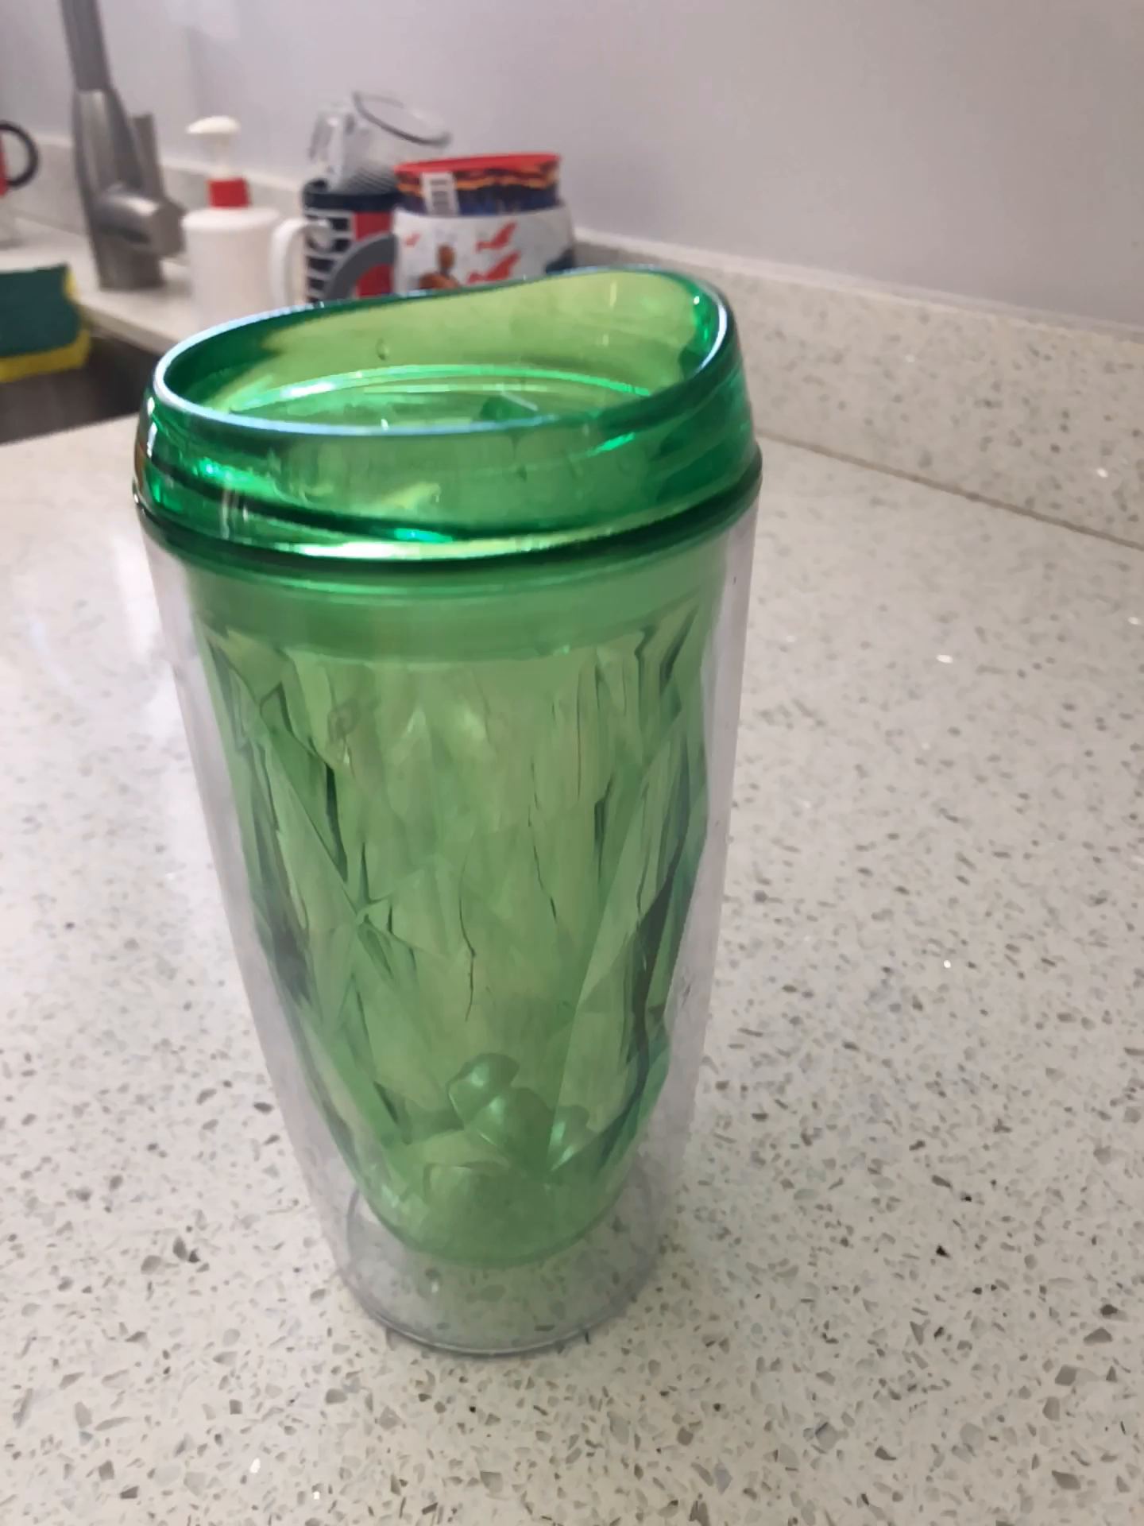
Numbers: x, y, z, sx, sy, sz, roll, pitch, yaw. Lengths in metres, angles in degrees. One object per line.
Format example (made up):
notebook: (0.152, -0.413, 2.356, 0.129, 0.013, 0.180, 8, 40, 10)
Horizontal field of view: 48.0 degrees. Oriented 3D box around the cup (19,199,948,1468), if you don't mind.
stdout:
cup: (-0.016, 0.005, 0.204, 0.090, 0.159, 0.090, -1, 30, 1)
